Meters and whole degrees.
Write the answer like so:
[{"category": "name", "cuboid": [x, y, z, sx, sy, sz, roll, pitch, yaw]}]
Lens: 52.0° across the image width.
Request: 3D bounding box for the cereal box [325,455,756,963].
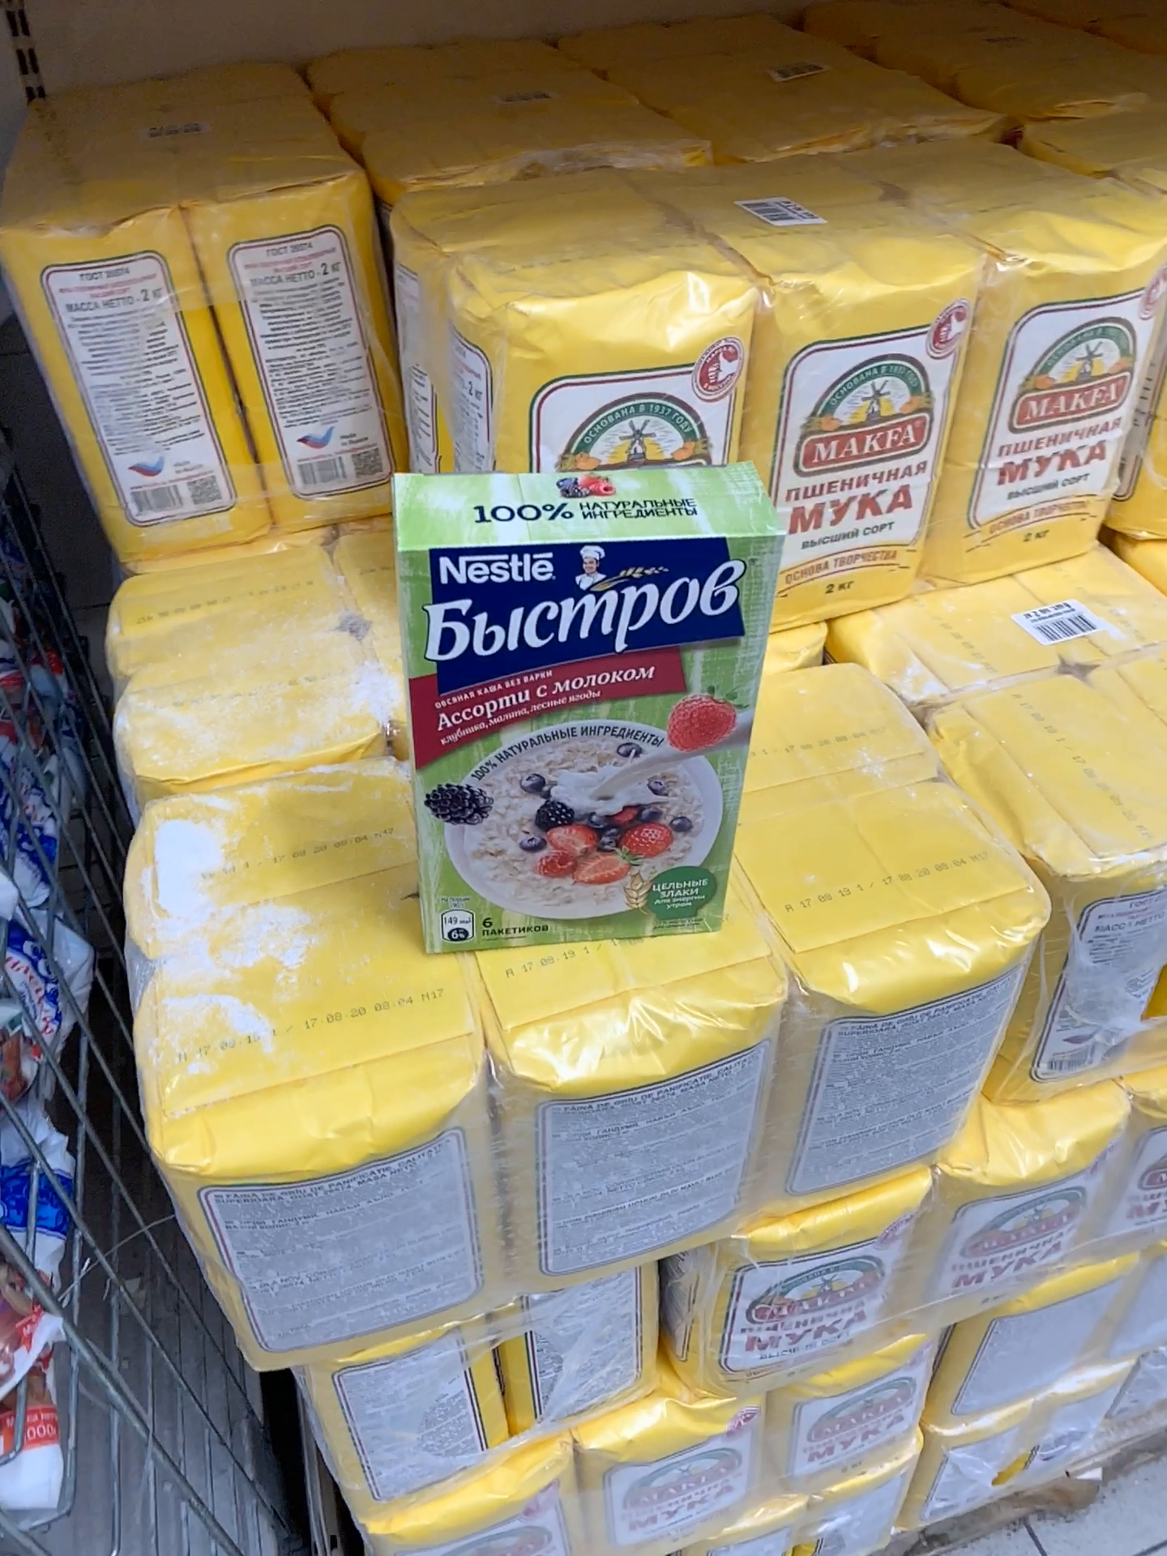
[{"category": "cereal box", "cuboid": [-0.017, -0.016, 0.412, 0.120, 0.178, 0.050, -4, 44, -6]}]
